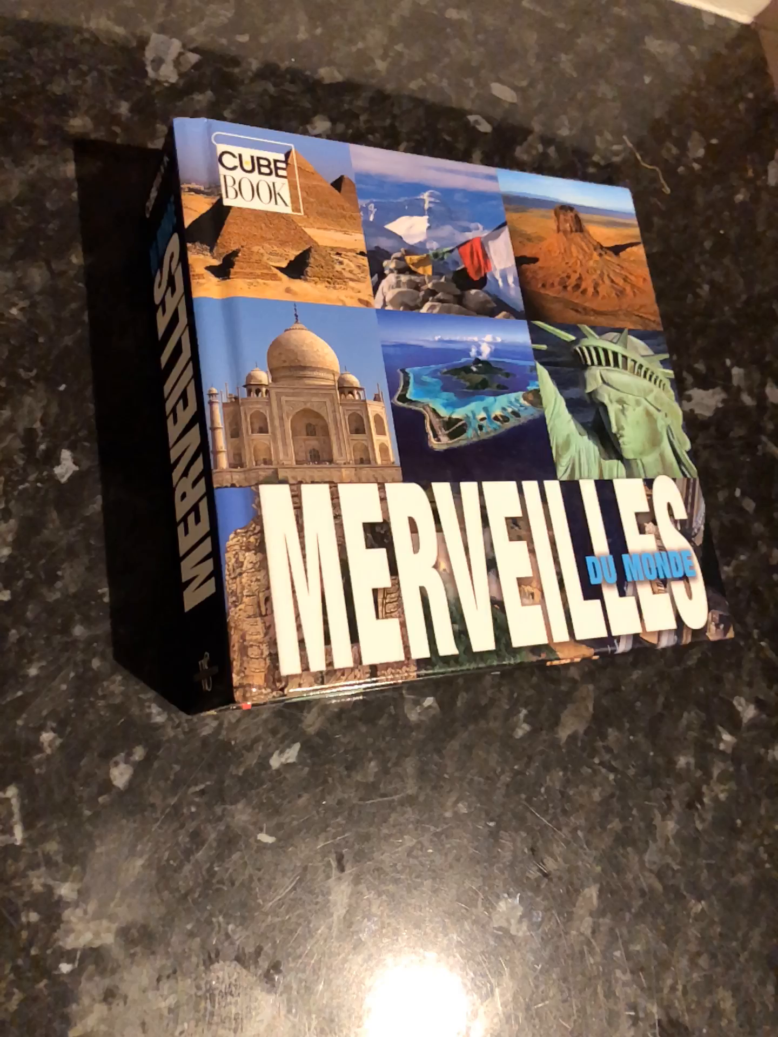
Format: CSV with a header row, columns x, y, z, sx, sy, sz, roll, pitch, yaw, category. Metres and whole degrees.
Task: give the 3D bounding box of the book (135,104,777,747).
x,y,z,sx,sy,sz,roll,pitch,yaw,category
0.020,-0.026,0.266,0.170,0.060,0.160,-3,75,-25,book
